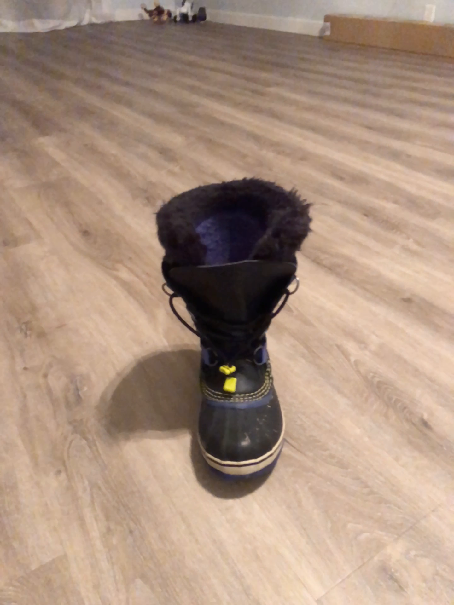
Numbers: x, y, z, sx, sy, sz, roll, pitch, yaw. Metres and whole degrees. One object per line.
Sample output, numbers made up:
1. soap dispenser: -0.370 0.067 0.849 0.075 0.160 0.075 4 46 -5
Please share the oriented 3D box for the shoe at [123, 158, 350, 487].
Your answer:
1. shoe: 0.013 0.014 0.549 0.170 0.269 0.241 -1 34 2
